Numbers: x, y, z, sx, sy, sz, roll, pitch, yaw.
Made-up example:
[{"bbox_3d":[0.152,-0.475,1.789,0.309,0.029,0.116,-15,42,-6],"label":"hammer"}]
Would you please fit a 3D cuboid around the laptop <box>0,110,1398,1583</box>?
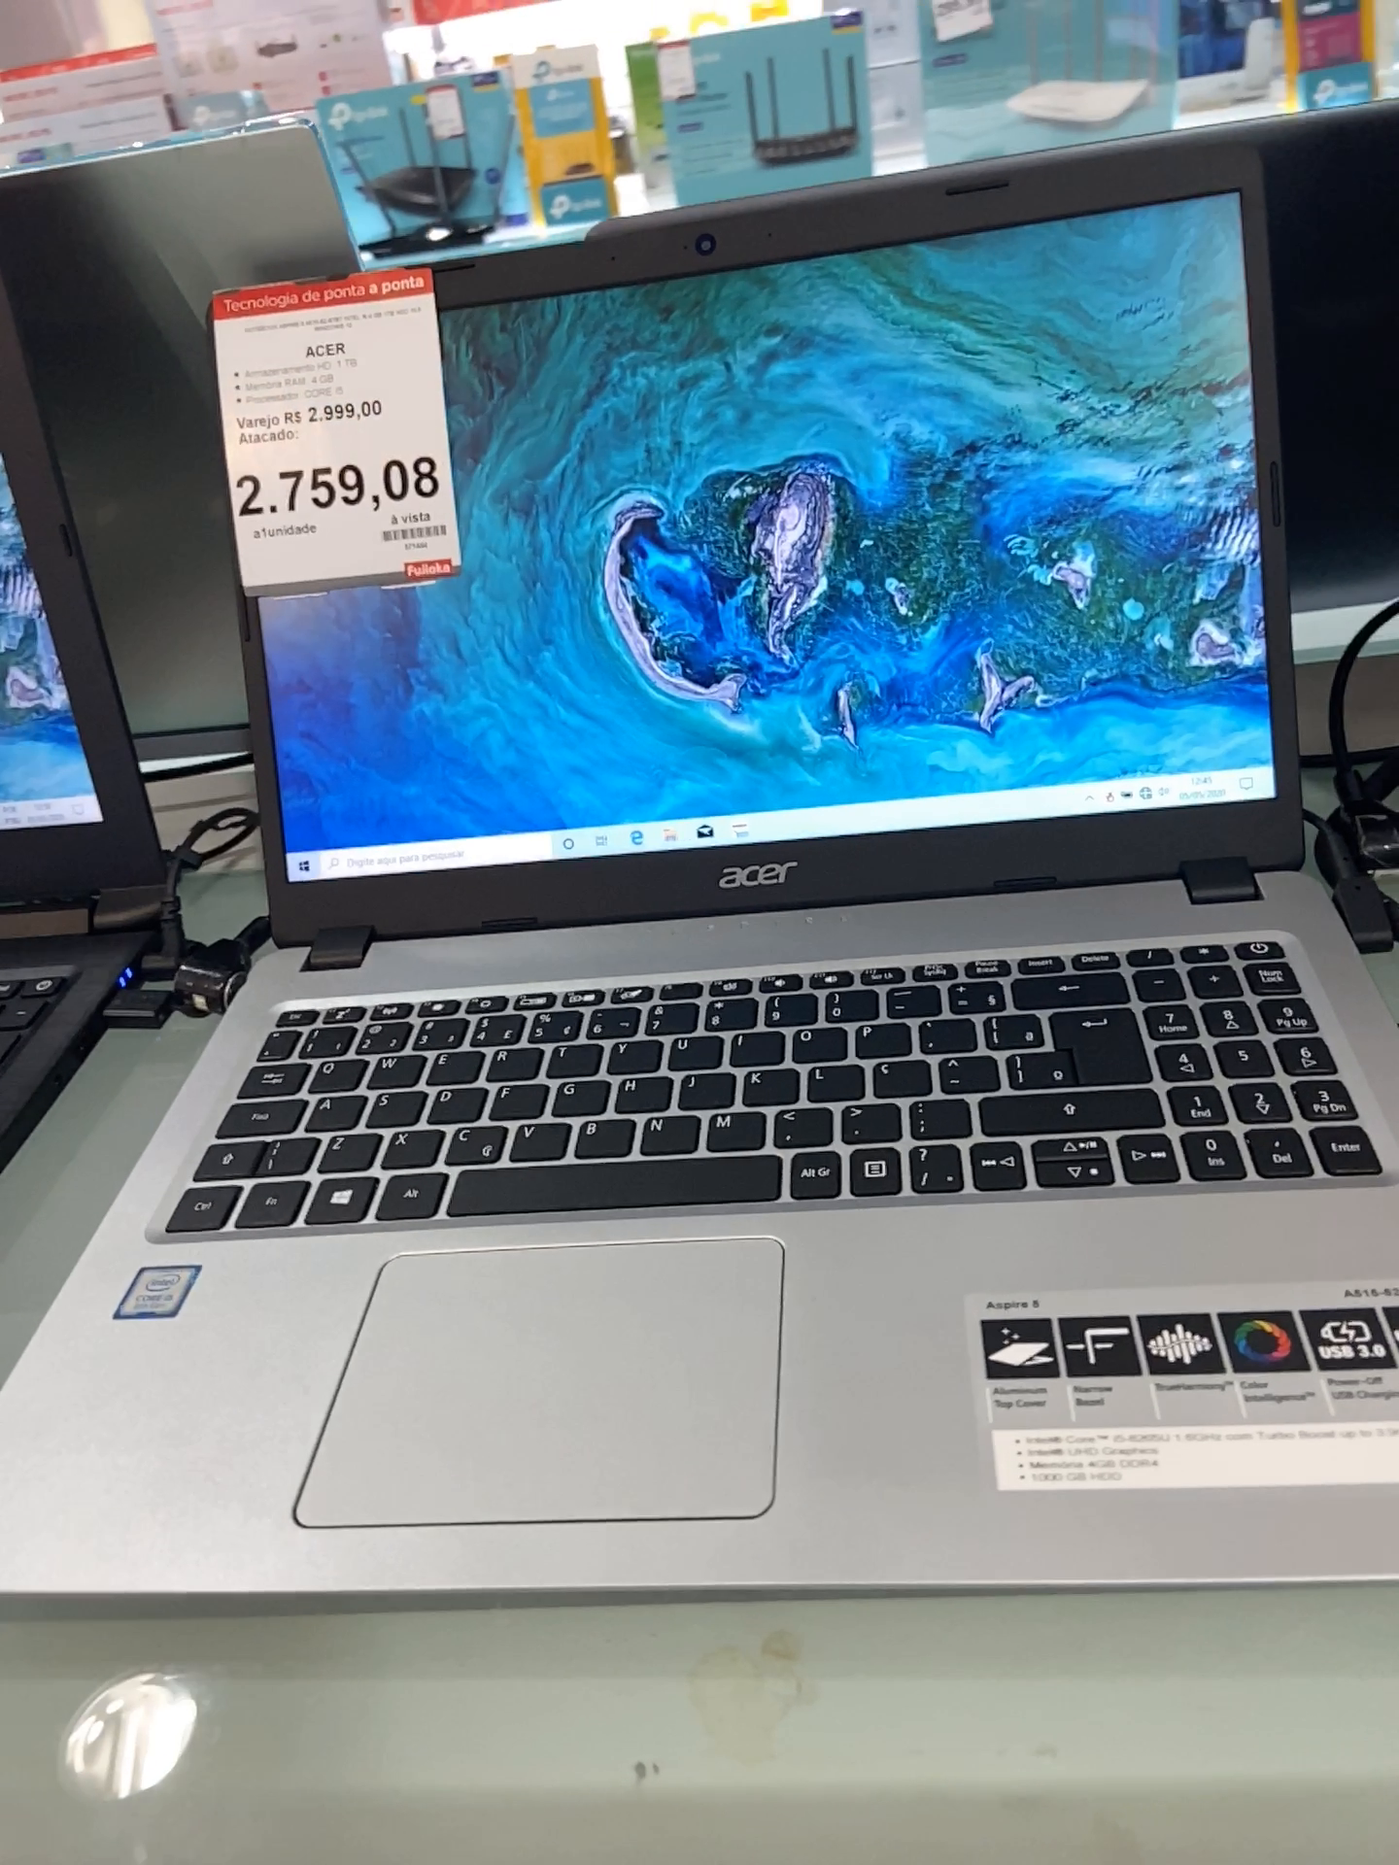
[{"bbox_3d":[0.003,-0.060,0.383,0.350,0.198,0.364,-5,33,9],"label":"laptop"}]
